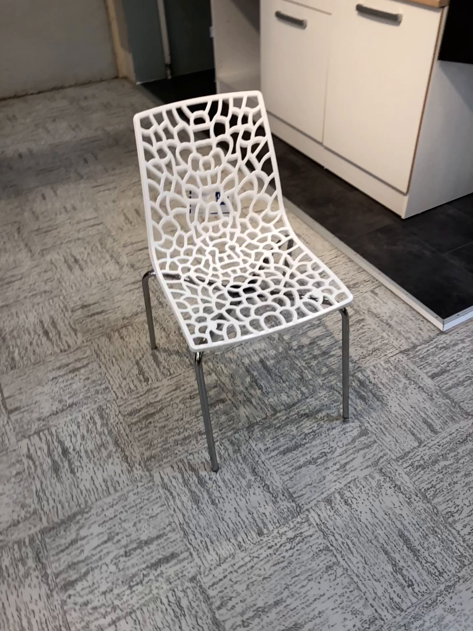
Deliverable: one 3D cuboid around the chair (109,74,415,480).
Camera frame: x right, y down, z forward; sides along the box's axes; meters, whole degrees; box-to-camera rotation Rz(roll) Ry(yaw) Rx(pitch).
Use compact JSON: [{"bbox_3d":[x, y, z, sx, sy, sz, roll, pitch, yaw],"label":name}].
[{"bbox_3d":[0.027,-0.087,1.299,0.451,0.785,0.512,-16,43,-15],"label":"chair"}]
